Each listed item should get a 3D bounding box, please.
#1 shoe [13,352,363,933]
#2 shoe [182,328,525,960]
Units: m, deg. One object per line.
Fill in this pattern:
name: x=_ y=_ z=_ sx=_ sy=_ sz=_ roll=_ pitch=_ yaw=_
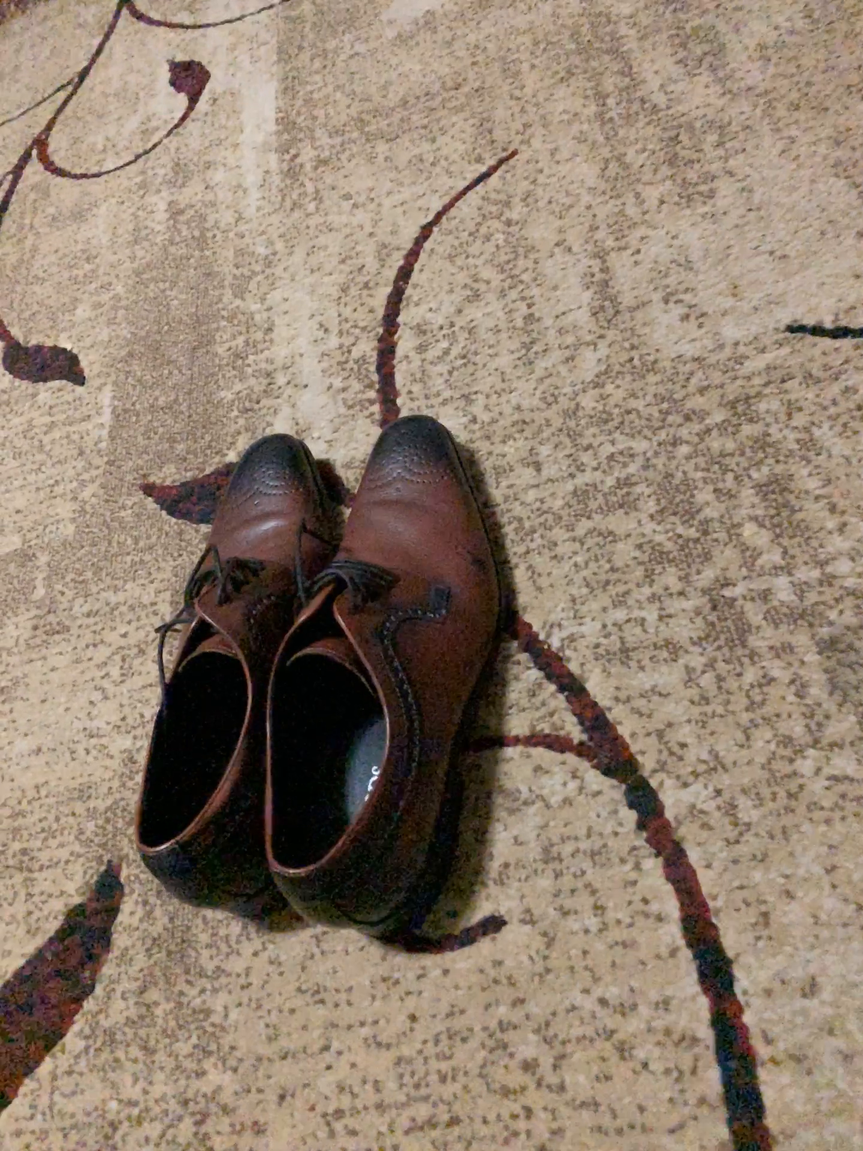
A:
shoe: x=-0.114 y=0.033 z=0.488 sx=0.100 sy=0.115 sz=0.288 roll=-10 pitch=58 yaw=18
shoe: x=-0.021 y=0.030 z=0.449 sx=0.100 sy=0.115 sz=0.288 roll=-6 pitch=59 yaw=20
